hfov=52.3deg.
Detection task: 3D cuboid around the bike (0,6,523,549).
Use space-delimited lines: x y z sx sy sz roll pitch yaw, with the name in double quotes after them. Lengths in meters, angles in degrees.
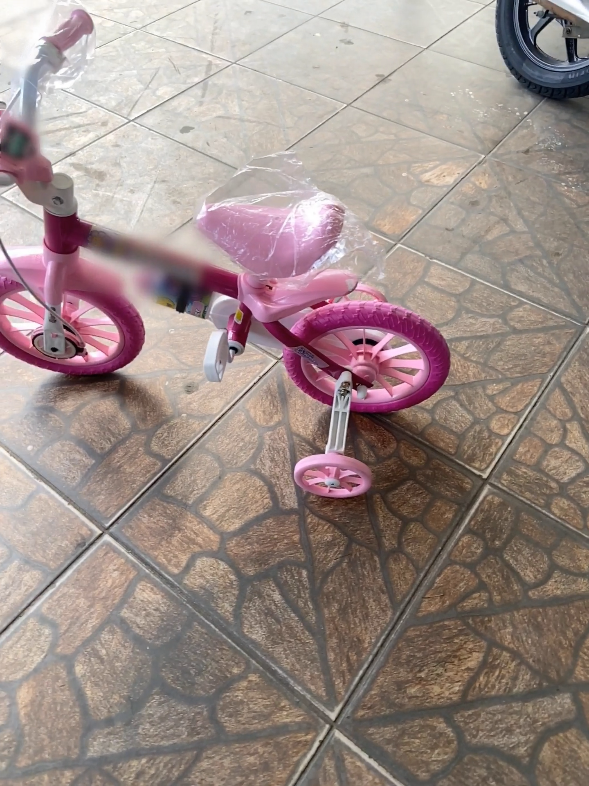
-0.164 -0.169 0.946 0.792 0.563 0.513 7 54 6 "bike"
